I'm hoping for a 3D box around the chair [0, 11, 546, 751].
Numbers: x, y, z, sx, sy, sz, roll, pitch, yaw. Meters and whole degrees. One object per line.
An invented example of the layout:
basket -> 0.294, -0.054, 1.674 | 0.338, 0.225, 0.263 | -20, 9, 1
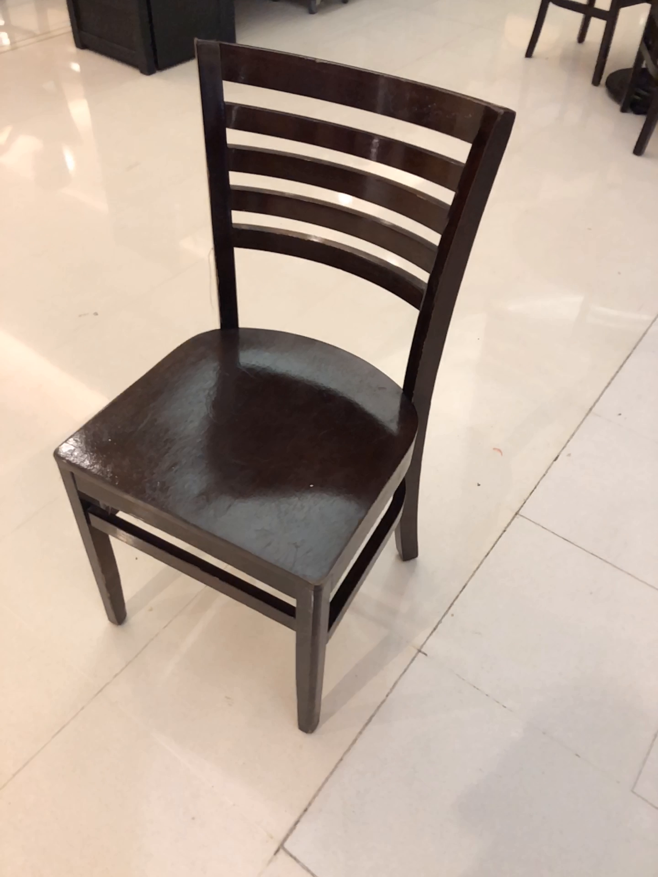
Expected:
chair -> -0.086, -0.056, 1.077 | 0.461, 0.844, 0.543 | 23, 49, 19
